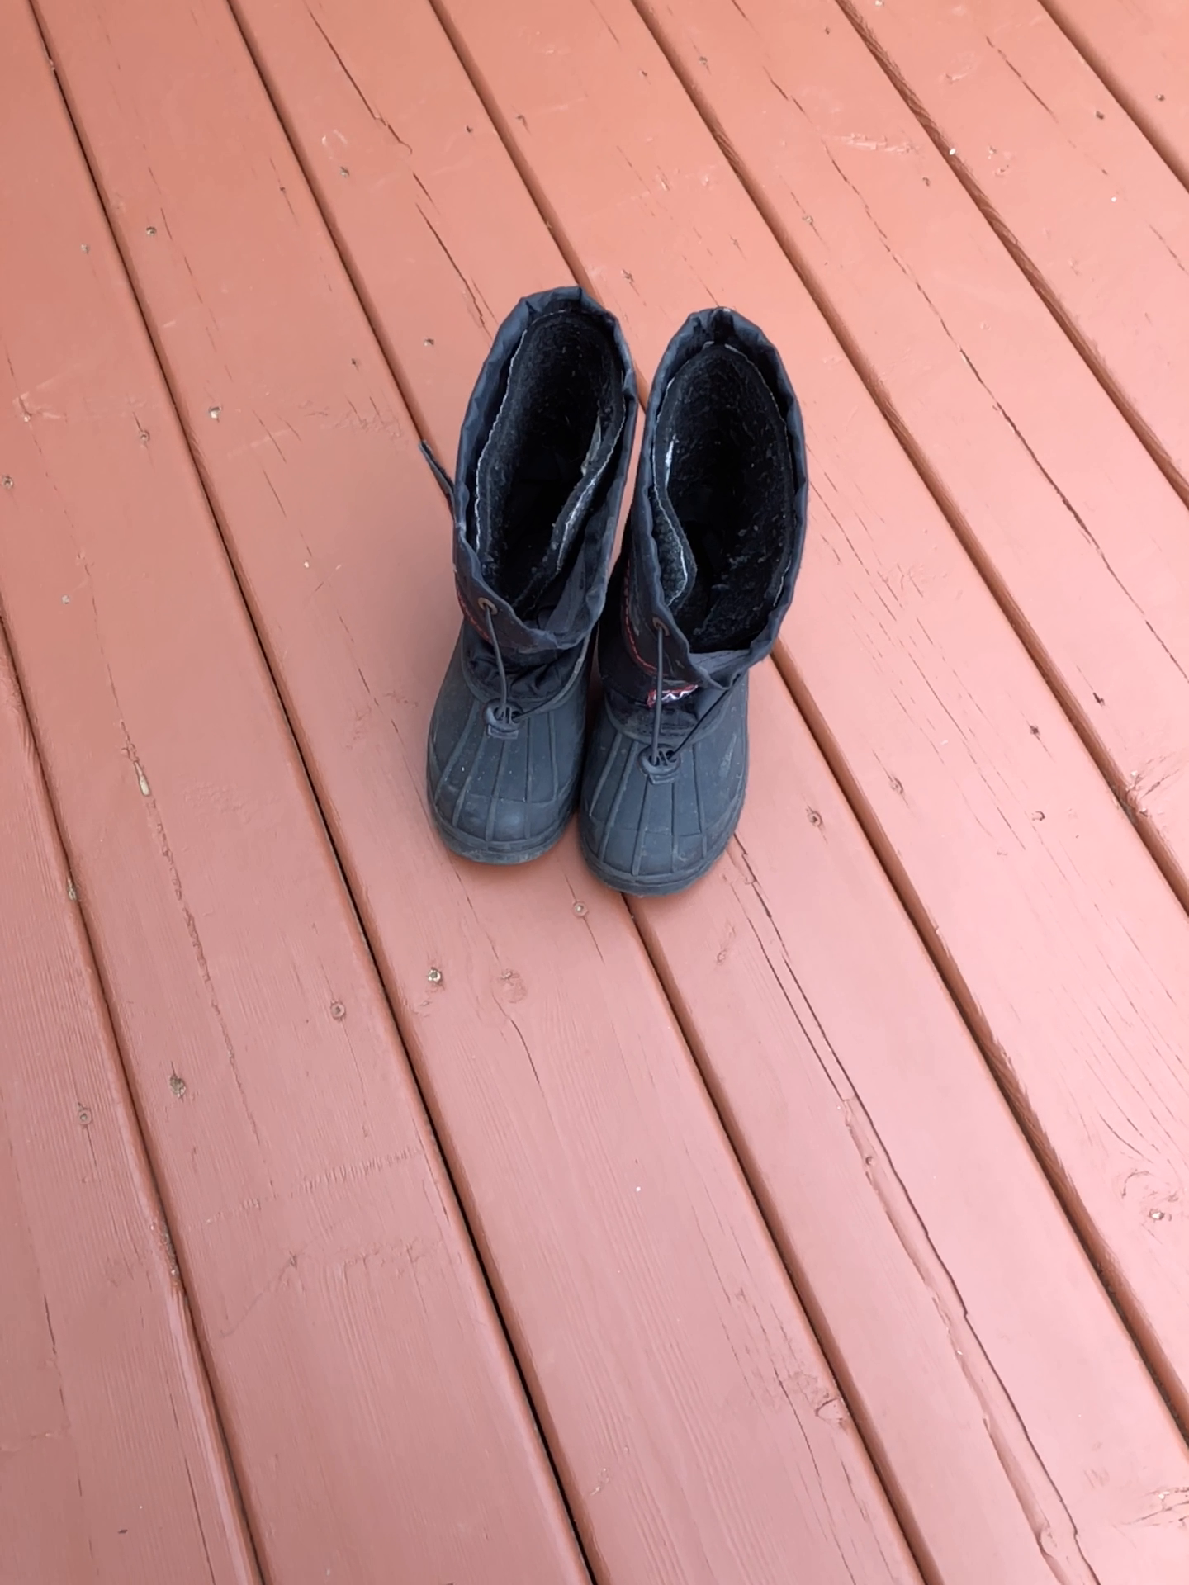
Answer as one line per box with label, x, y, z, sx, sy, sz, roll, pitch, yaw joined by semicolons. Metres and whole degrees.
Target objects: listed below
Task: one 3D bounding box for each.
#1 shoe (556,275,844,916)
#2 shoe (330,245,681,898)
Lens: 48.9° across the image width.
shoe;0.047;-0.079;0.632;0.100;0.230;0.210;5;68;3
shoe;-0.030;-0.091;0.635;0.100;0.230;0.210;10;68;4
